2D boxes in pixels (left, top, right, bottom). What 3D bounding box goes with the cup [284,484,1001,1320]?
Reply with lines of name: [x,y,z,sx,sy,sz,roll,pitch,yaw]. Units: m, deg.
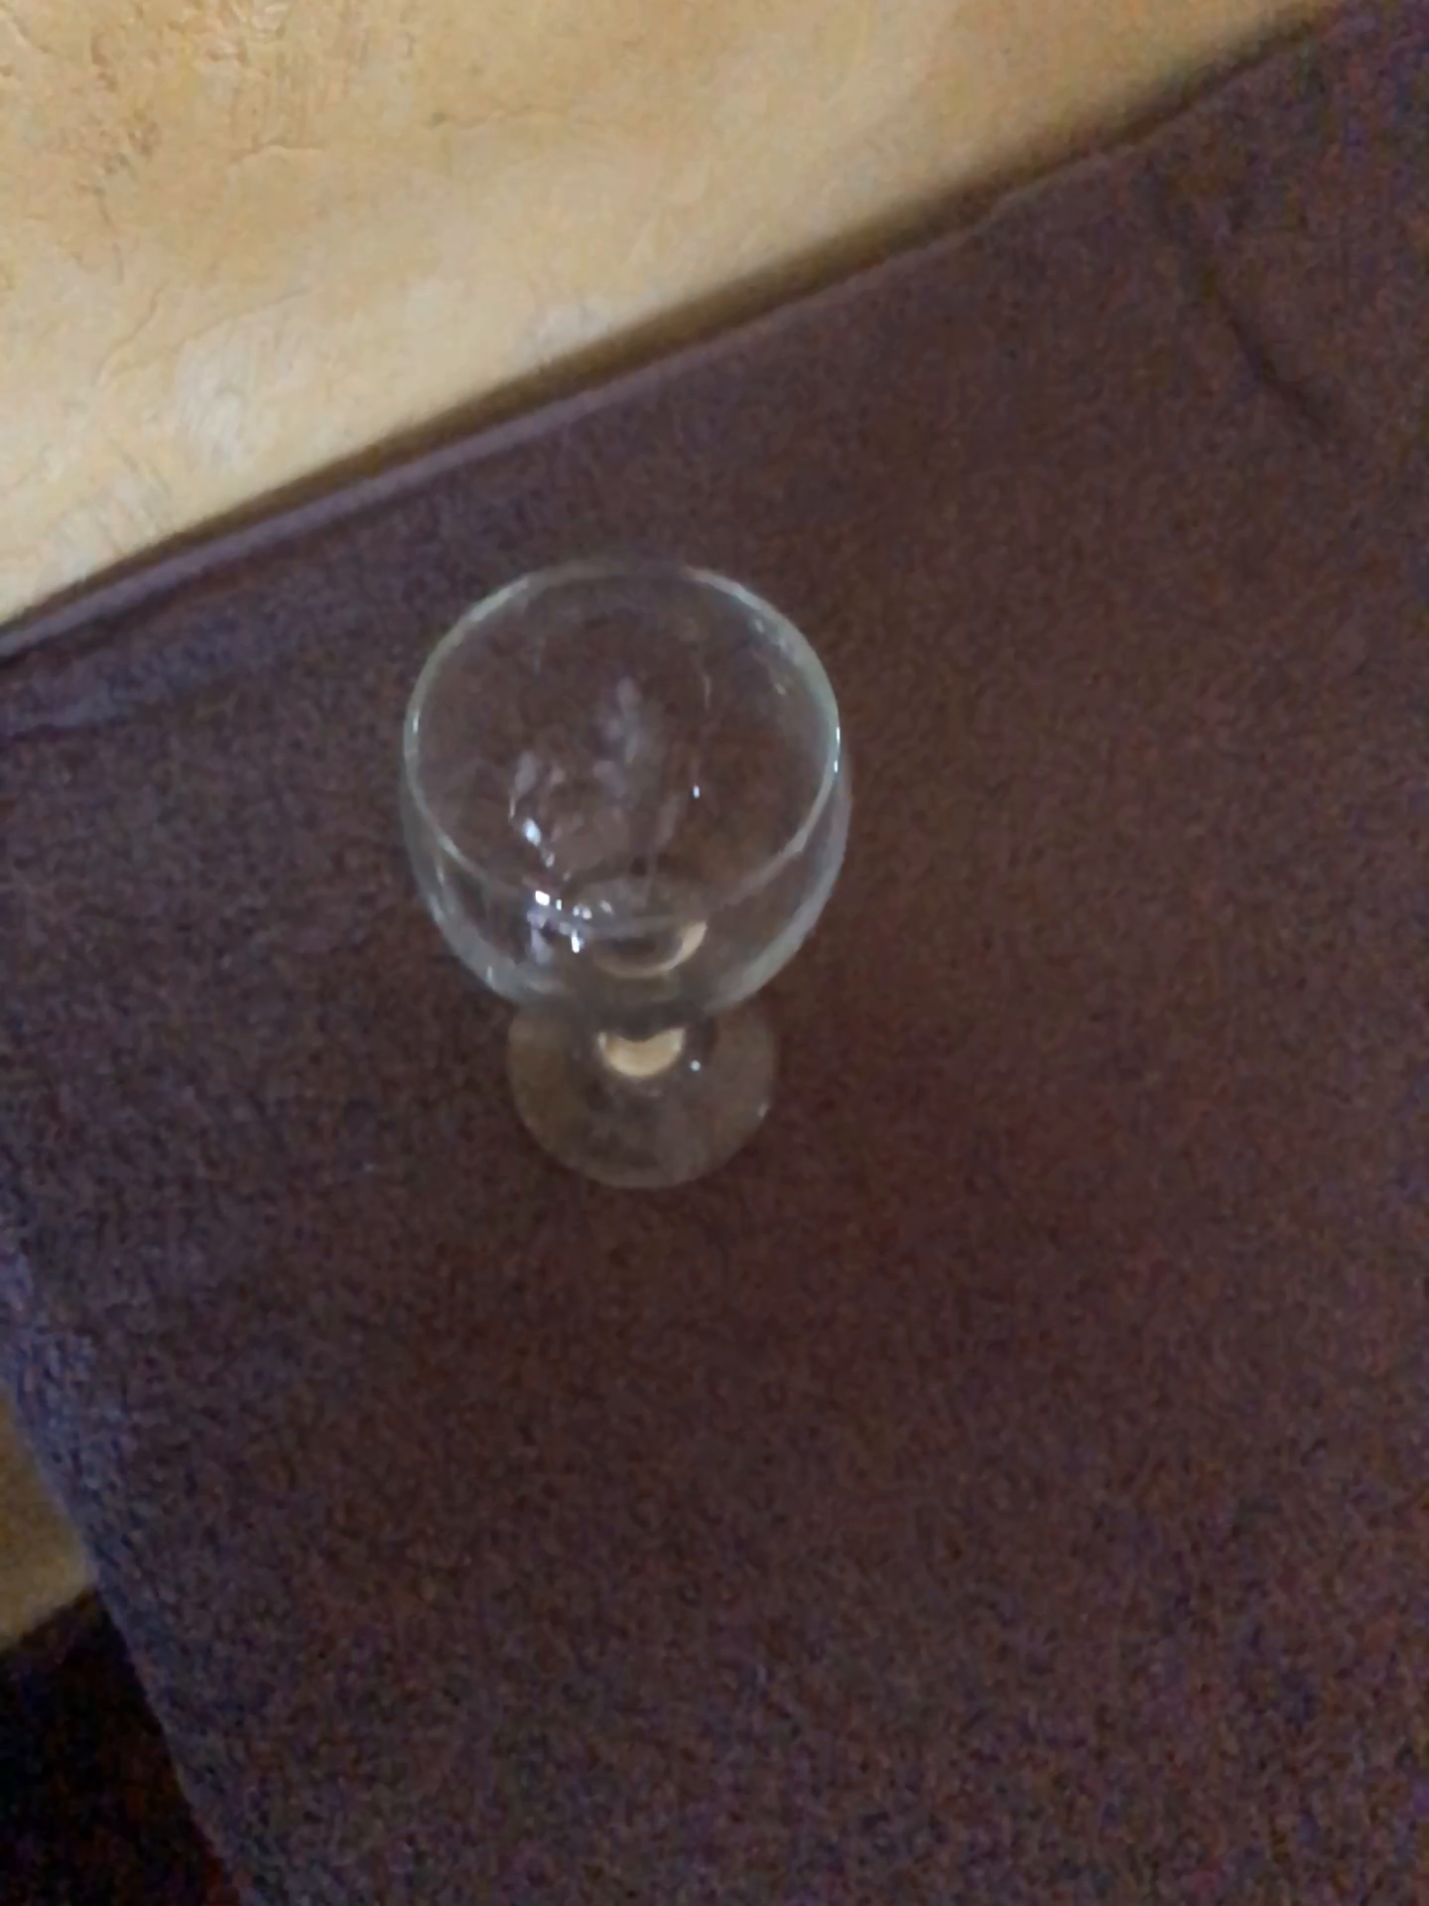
cup: [-0.009,0.001,0.276,0.070,0.130,0.070,0,66,-1]
